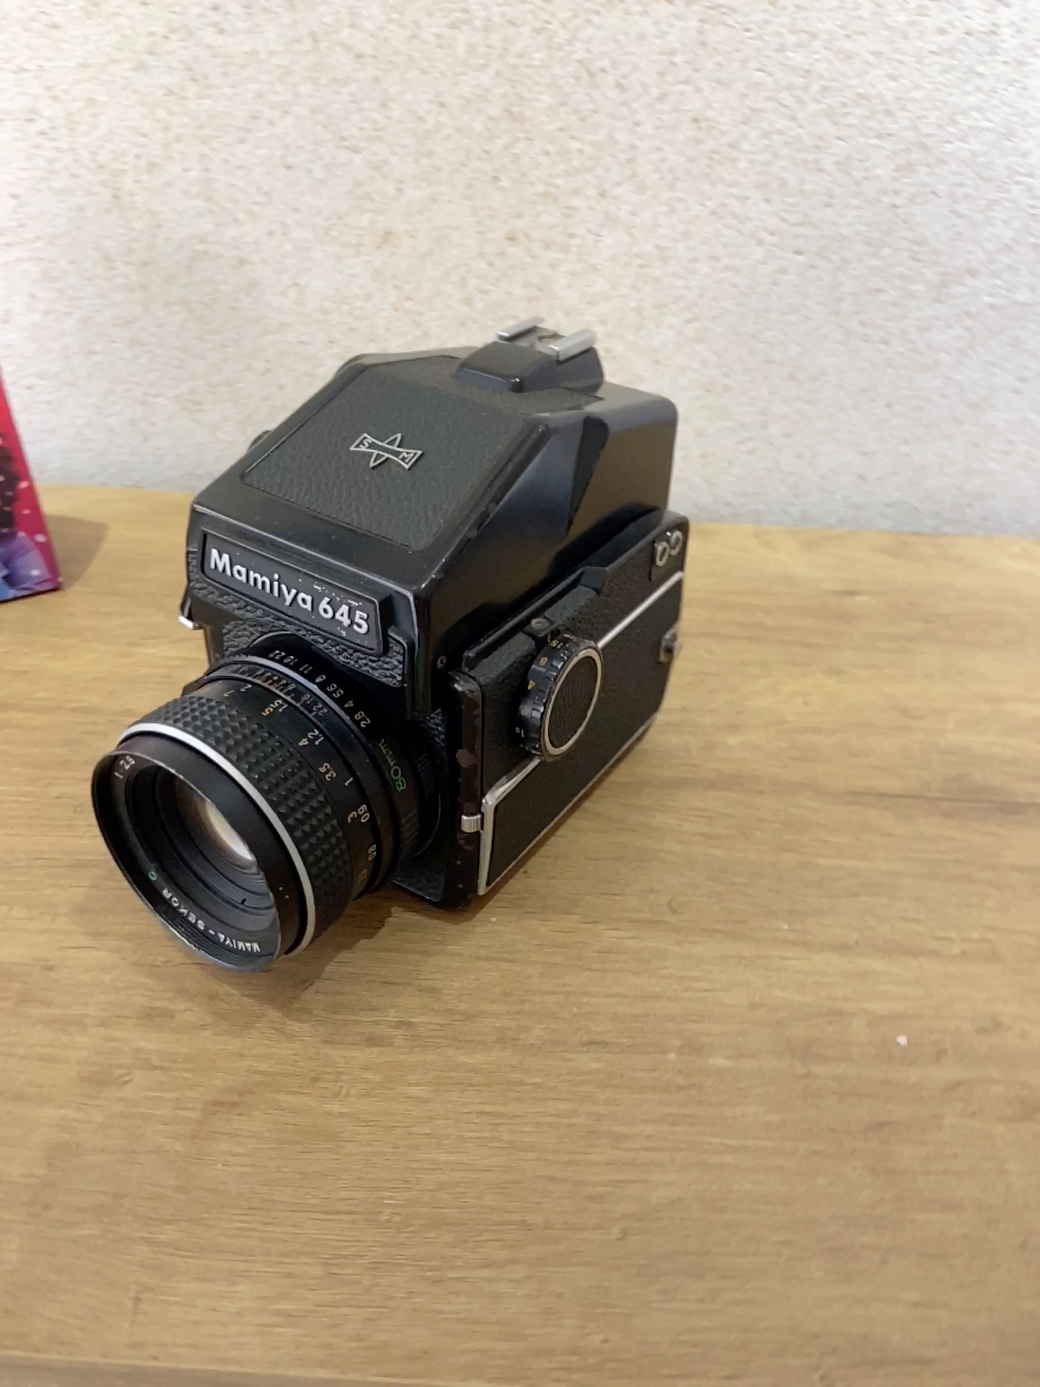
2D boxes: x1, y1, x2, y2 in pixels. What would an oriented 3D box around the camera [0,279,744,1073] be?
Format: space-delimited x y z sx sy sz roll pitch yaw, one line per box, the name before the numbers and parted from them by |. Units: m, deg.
camera | -0.043 -0.024 0.282 0.130 0.109 0.161 23 40 28
